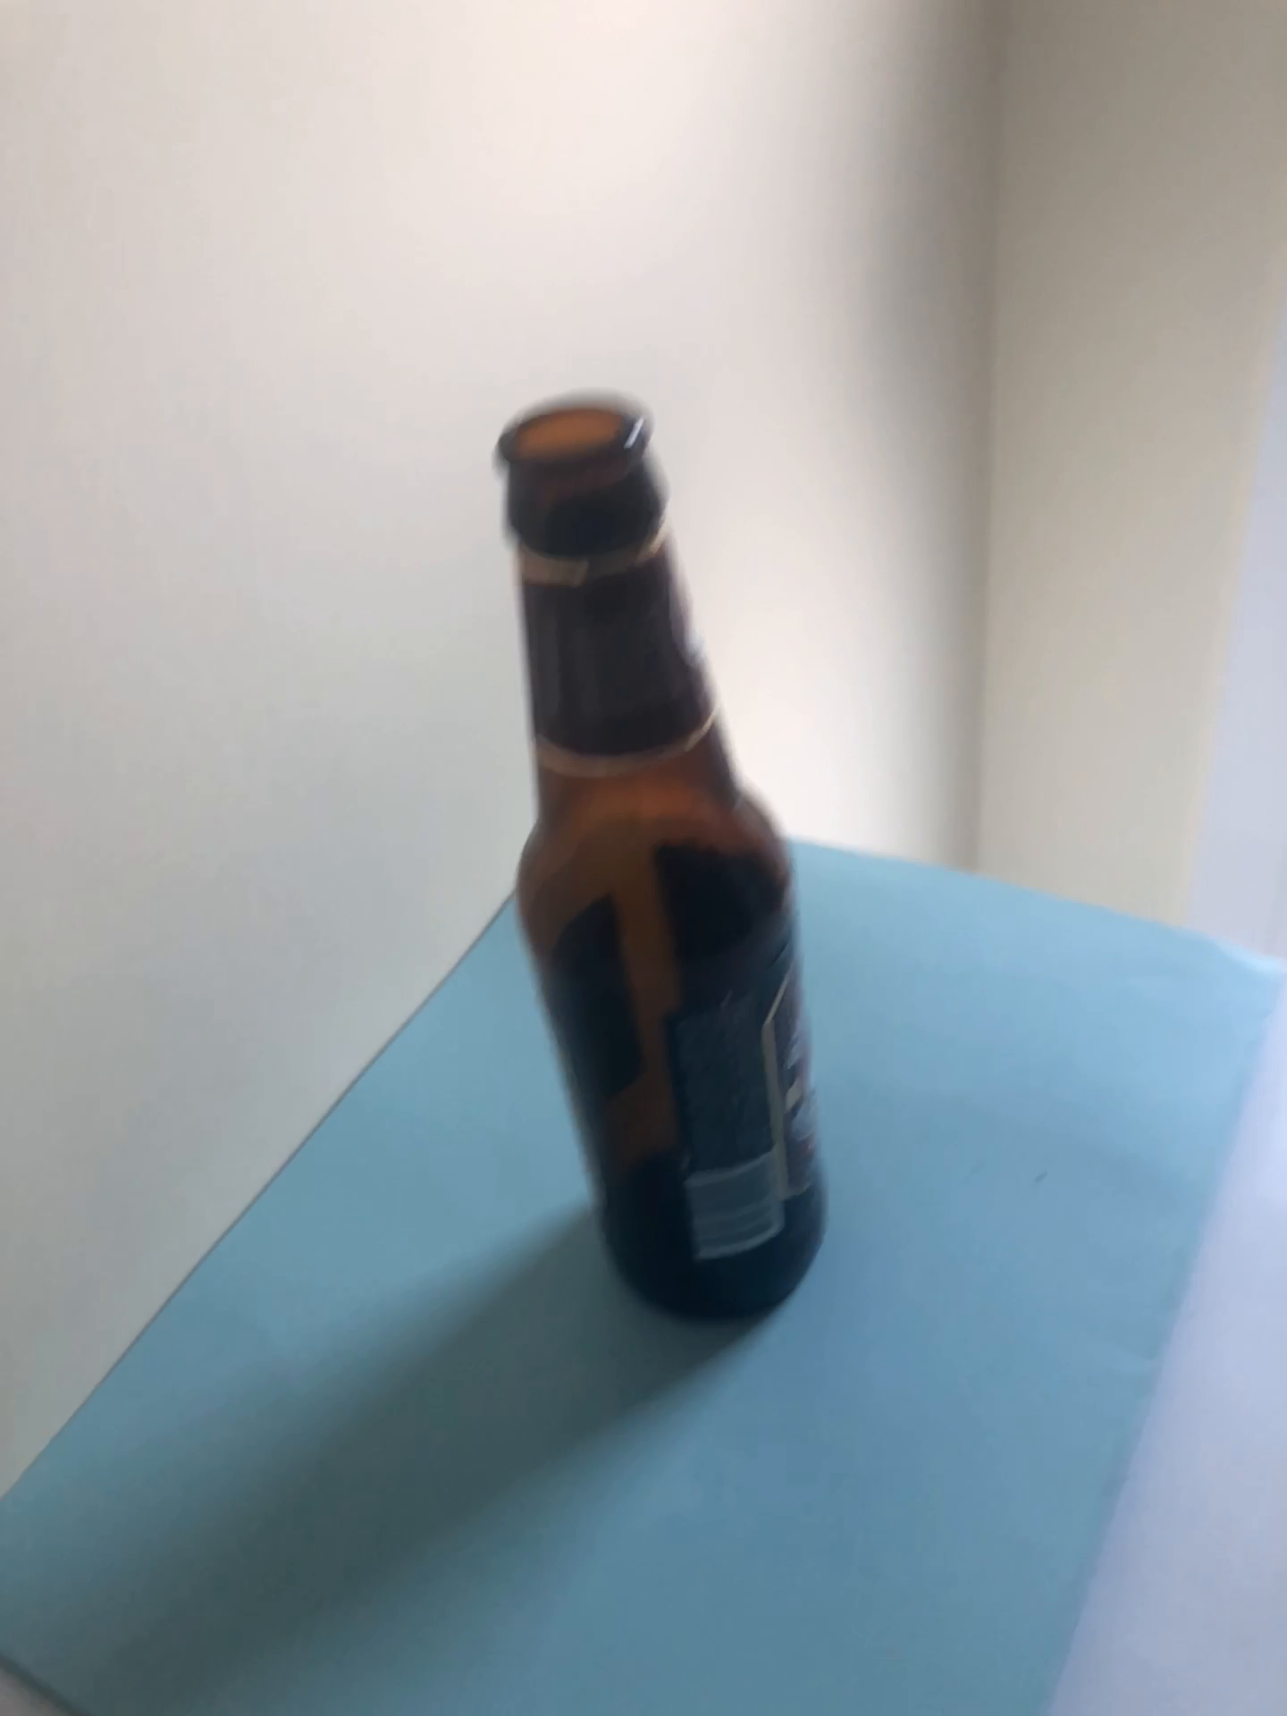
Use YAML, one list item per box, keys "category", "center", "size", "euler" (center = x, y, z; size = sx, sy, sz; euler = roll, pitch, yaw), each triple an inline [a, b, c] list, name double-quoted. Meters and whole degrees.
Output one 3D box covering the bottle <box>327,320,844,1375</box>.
- category: "bottle"
  center: [-0.002, 0.014, 0.311]
  size: [0.070, 0.229, 0.070]
  euler: [-5, 40, 5]
